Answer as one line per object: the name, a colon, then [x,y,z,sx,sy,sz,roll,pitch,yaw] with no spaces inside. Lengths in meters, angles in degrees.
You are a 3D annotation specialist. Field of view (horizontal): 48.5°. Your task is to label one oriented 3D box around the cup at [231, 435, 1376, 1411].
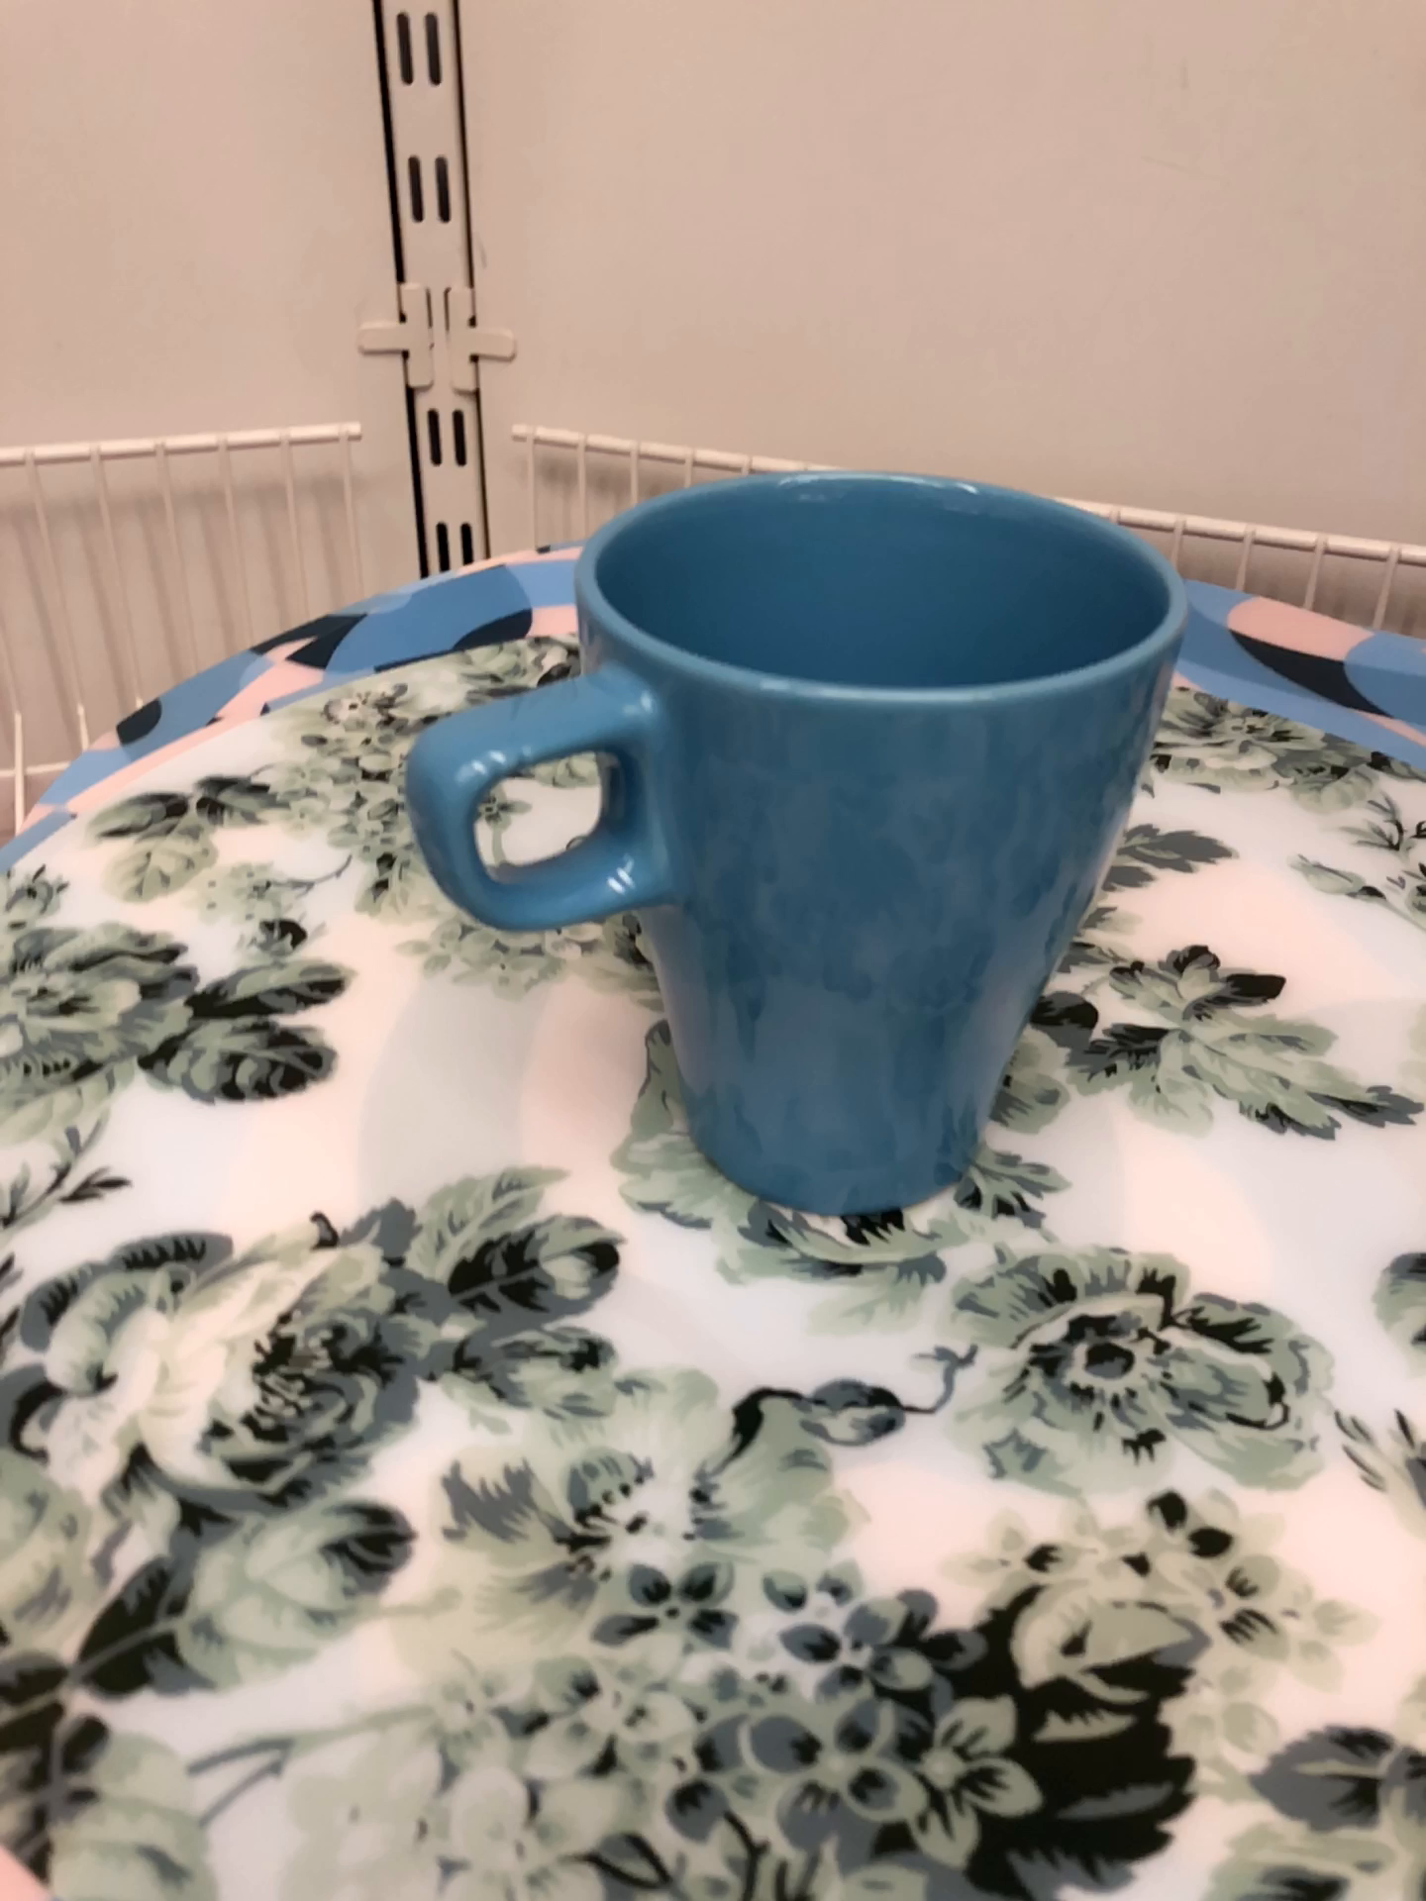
cup: [0.011,-0.017,0.228,0.120,0.080,0.090,-20,36,-31]
